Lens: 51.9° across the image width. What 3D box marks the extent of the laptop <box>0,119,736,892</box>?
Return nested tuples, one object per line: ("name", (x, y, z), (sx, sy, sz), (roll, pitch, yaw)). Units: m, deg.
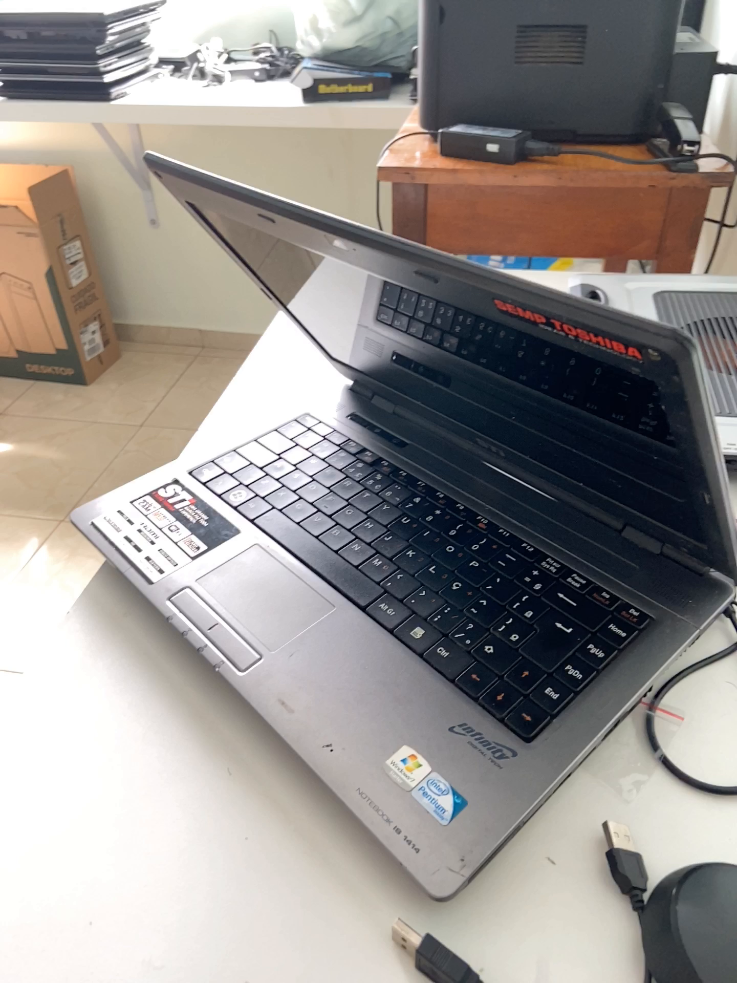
("laptop", (0.001, -0.046, 0.413), (0.242, 0.200, 0.343), (-31, 45, -31))
